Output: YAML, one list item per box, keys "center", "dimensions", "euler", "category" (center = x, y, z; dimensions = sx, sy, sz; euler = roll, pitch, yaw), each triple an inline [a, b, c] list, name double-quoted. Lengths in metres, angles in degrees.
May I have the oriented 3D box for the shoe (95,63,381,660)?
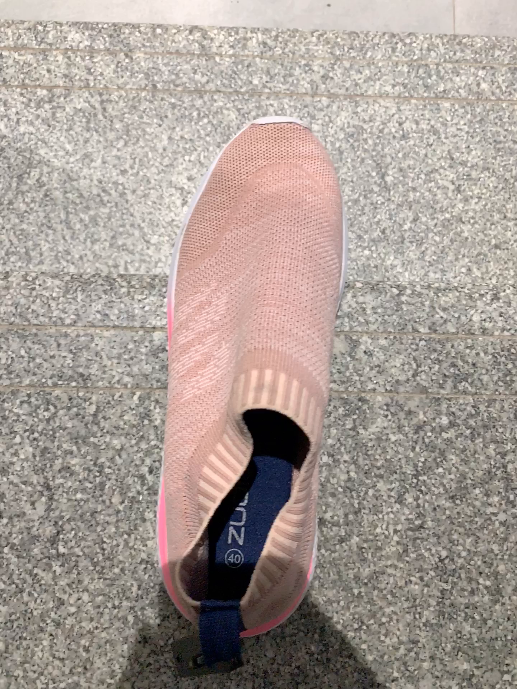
- center: [-0.006, 0.005, 0.270]
  dimensions: [0.100, 0.080, 0.250]
  euler: [5, 85, 0]
  category: "shoe"
